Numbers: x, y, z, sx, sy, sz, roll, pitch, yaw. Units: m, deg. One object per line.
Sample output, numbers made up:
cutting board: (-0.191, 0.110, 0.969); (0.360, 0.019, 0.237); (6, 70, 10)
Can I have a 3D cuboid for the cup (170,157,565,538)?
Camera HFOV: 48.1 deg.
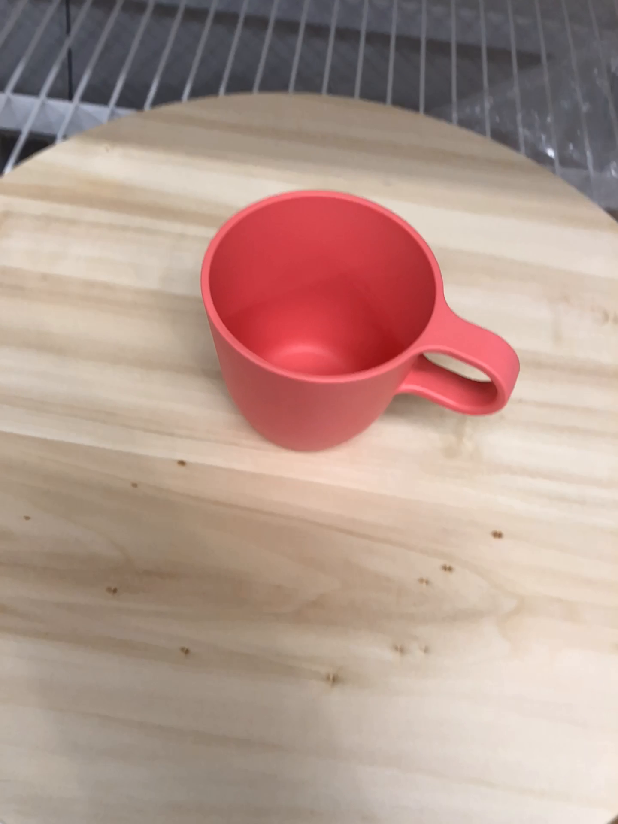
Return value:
cup: (0.020, -0.023, 0.263); (0.110, 0.080, 0.080); (22, 60, 9)
